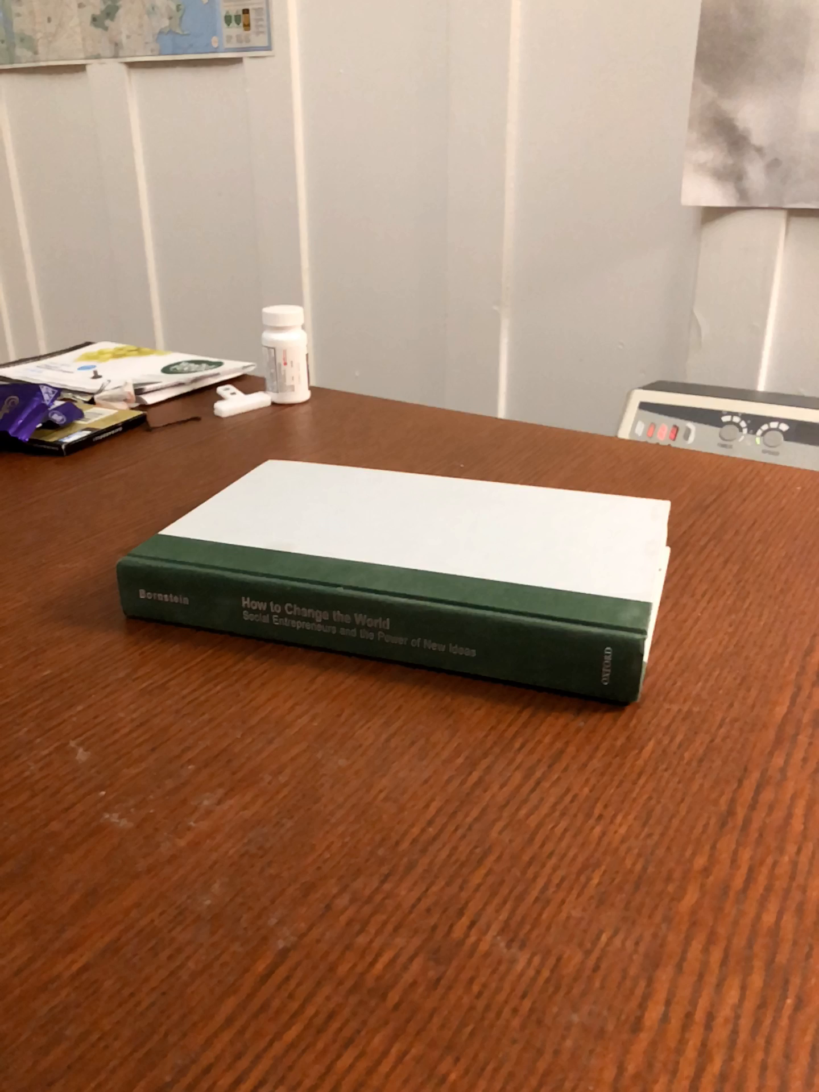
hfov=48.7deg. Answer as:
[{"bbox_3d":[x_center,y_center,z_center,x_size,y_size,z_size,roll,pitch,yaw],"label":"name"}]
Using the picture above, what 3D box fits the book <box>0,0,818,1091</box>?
[{"bbox_3d":[0.287,-0.323,0.261,1.000,0.995,1.005,-1,24,-1],"label":"book"}]
